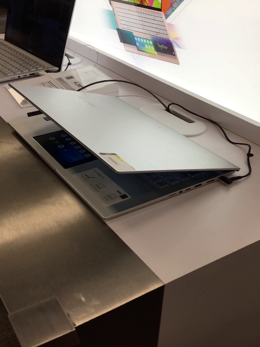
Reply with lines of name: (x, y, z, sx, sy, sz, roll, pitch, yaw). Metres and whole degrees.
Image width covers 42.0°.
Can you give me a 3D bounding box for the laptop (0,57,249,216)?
laptop: (-0.033, -0.090, 0.590, 0.251, 0.099, 0.324, -23, 47, -29)
